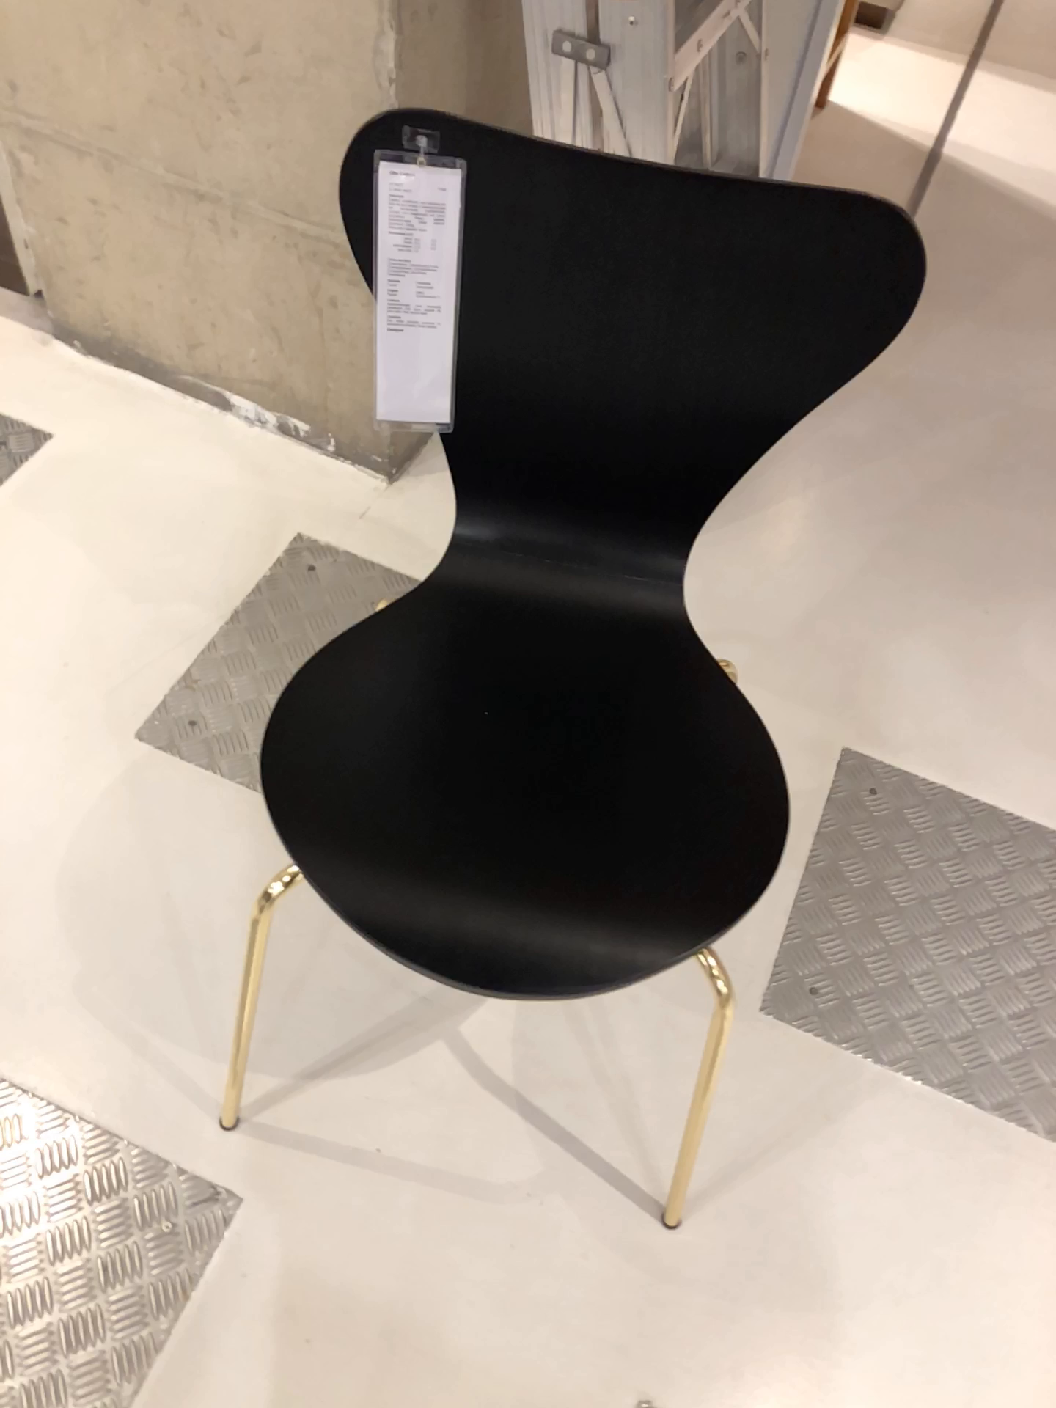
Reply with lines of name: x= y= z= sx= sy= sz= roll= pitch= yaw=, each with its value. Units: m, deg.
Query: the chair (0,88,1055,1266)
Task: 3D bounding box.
chair: x=0.003 y=0.047 z=0.982 sx=0.510 sy=0.775 sz=0.543 roll=12 pitch=53 yaw=2
